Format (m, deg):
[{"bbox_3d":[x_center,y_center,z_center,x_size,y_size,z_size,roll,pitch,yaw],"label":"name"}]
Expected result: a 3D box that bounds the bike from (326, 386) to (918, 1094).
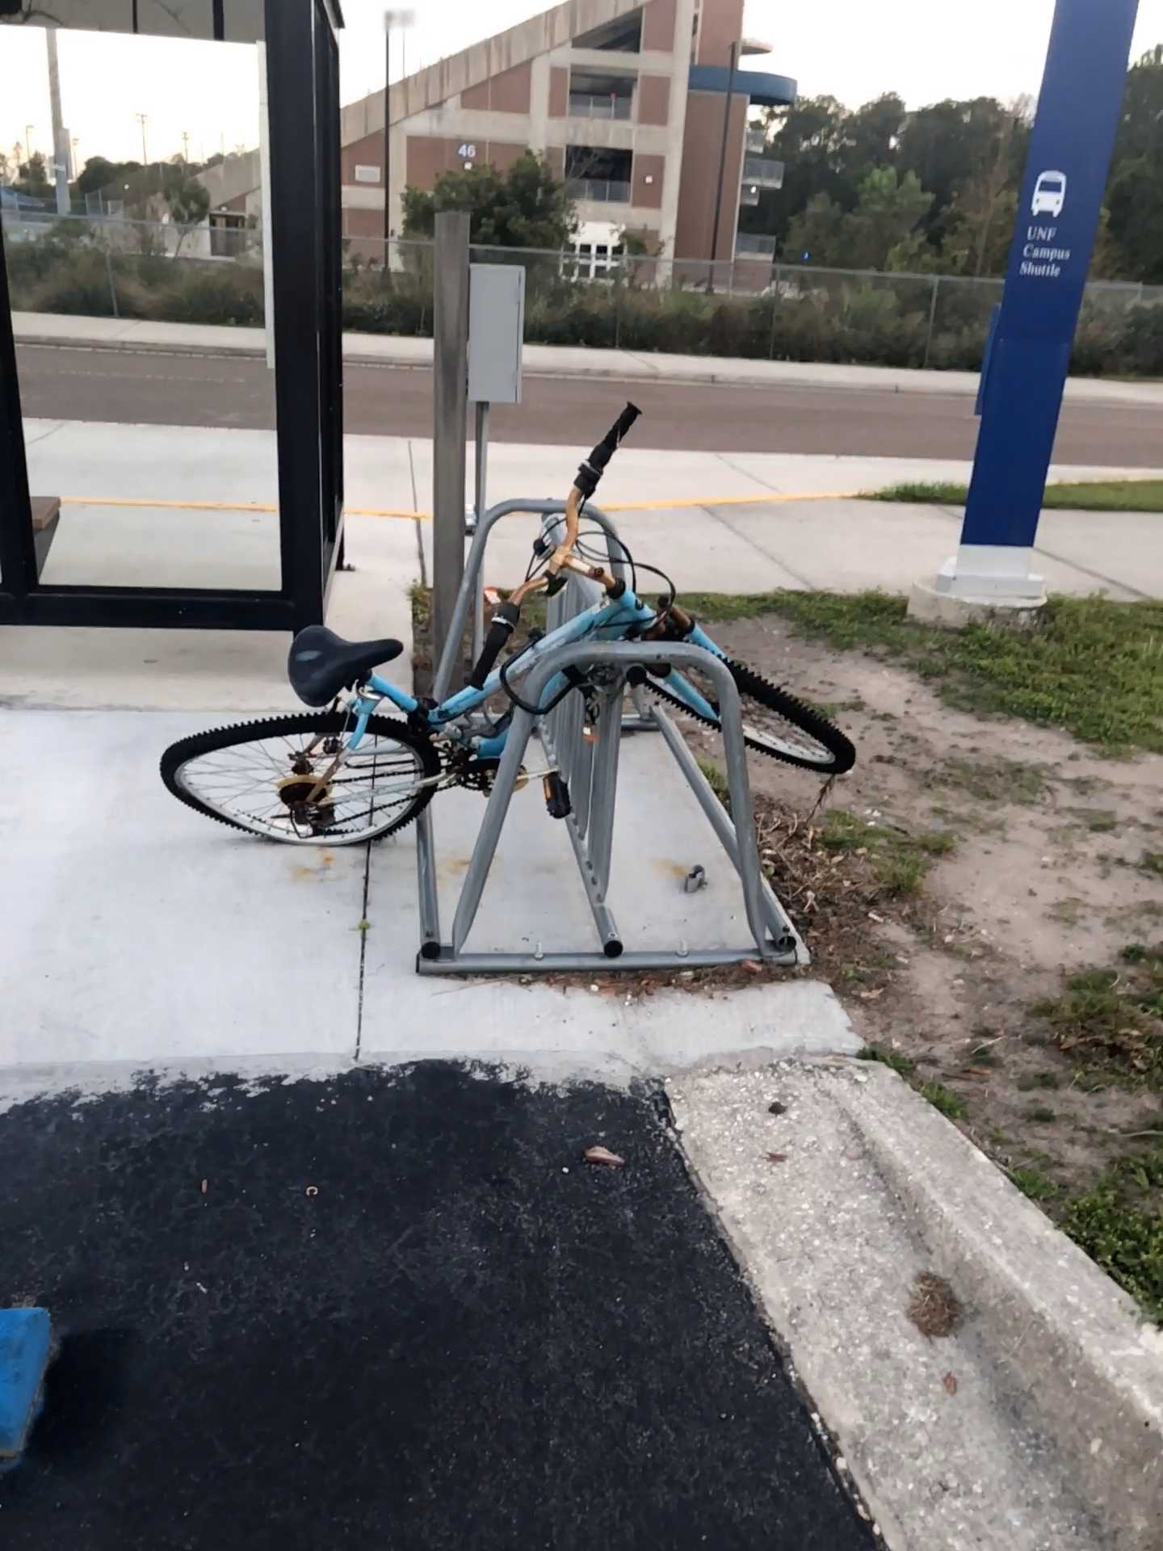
[{"bbox_3d":[0.044,-0.119,2.393,0.937,1.128,0.550,8,22,14],"label":"bike"}]
